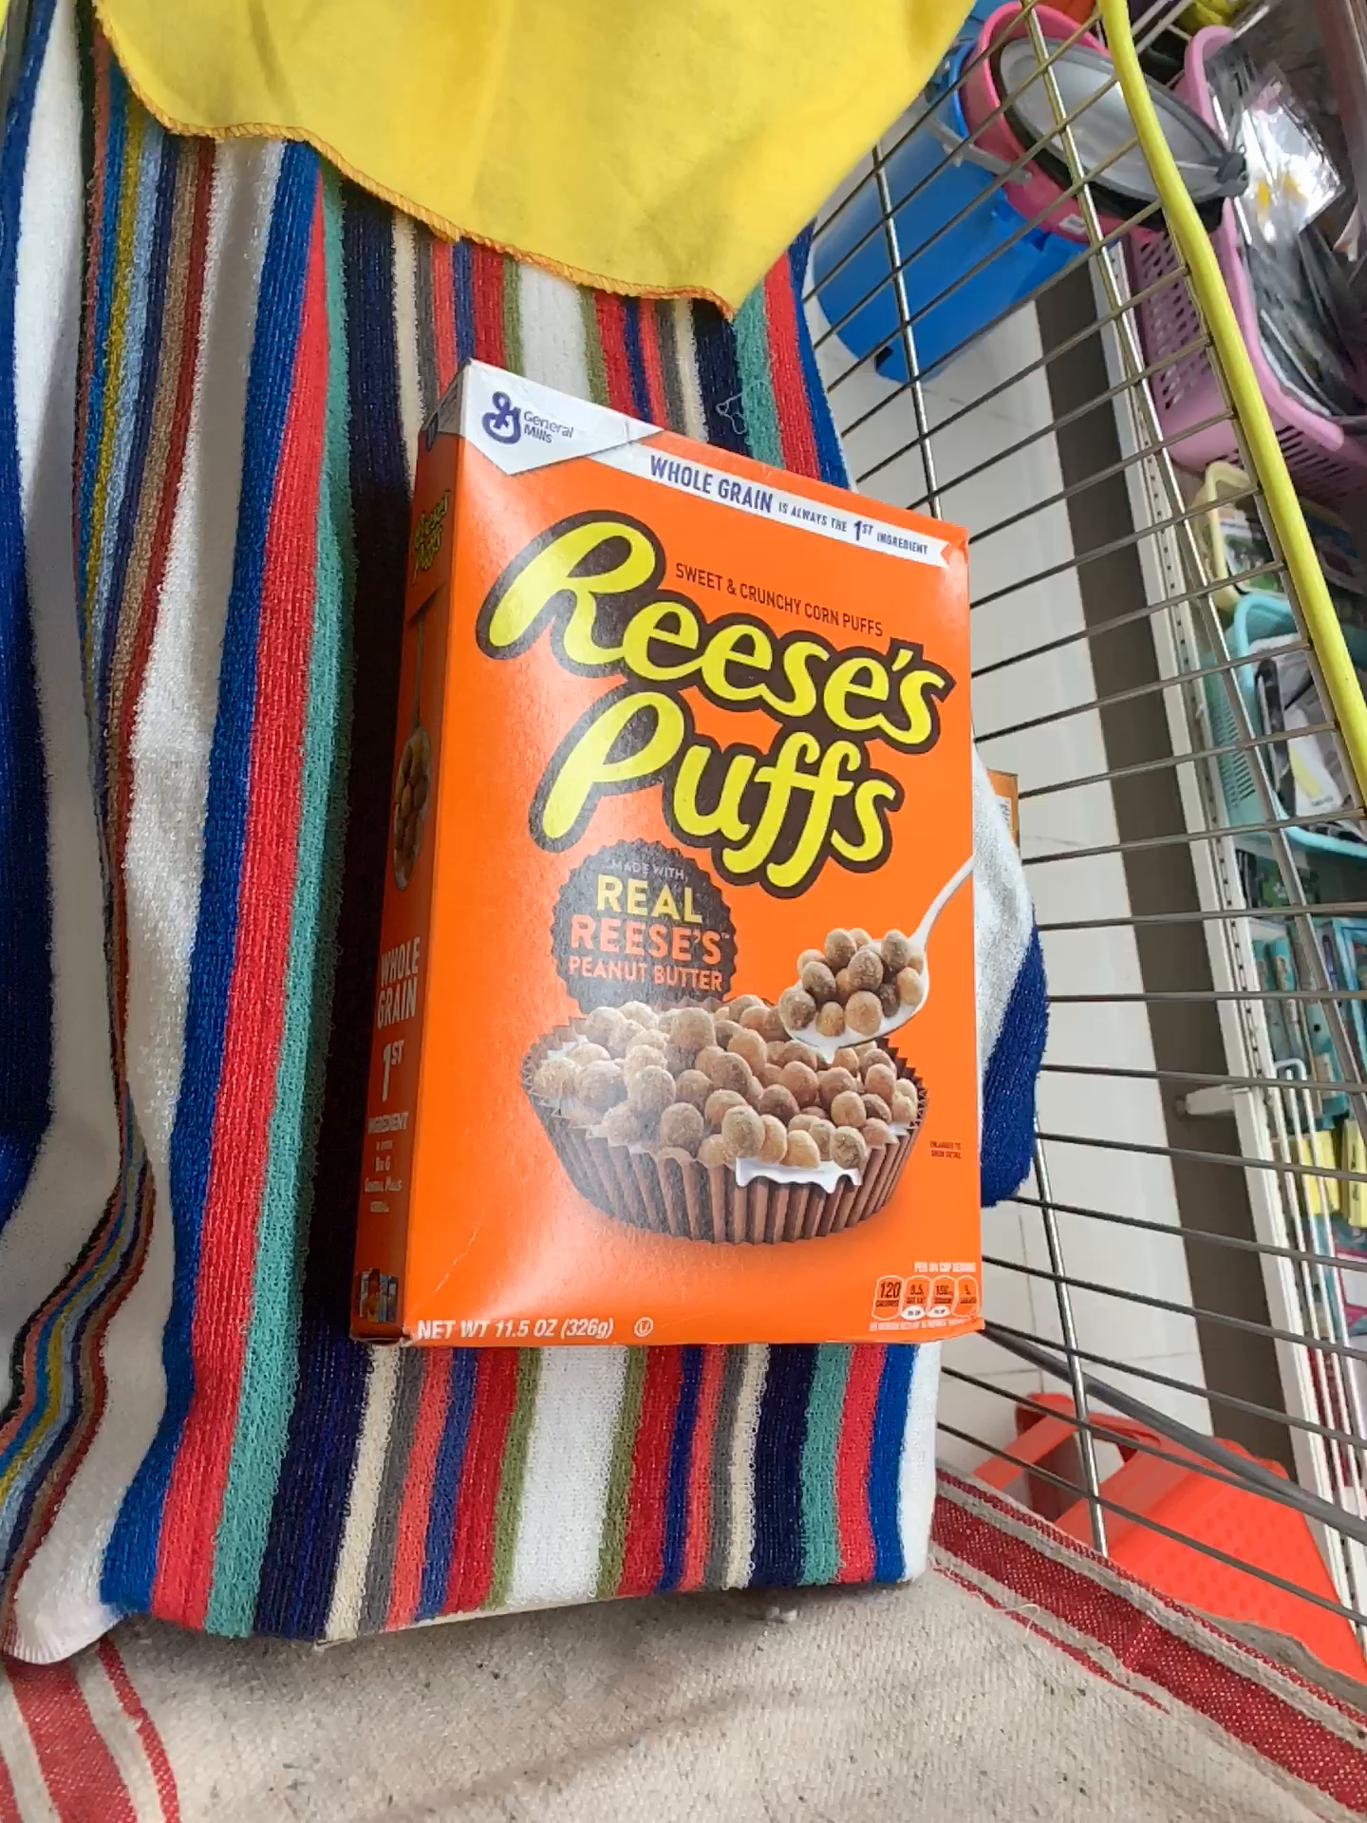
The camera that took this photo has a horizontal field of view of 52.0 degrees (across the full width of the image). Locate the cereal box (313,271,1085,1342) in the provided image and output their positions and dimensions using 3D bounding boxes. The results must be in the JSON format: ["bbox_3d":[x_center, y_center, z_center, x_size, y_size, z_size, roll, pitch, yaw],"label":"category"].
[{"bbox_3d":[0.015,-0.015,0.411,0.201,0.080,0.260,9,77,-29],"label":"cereal box"}]
